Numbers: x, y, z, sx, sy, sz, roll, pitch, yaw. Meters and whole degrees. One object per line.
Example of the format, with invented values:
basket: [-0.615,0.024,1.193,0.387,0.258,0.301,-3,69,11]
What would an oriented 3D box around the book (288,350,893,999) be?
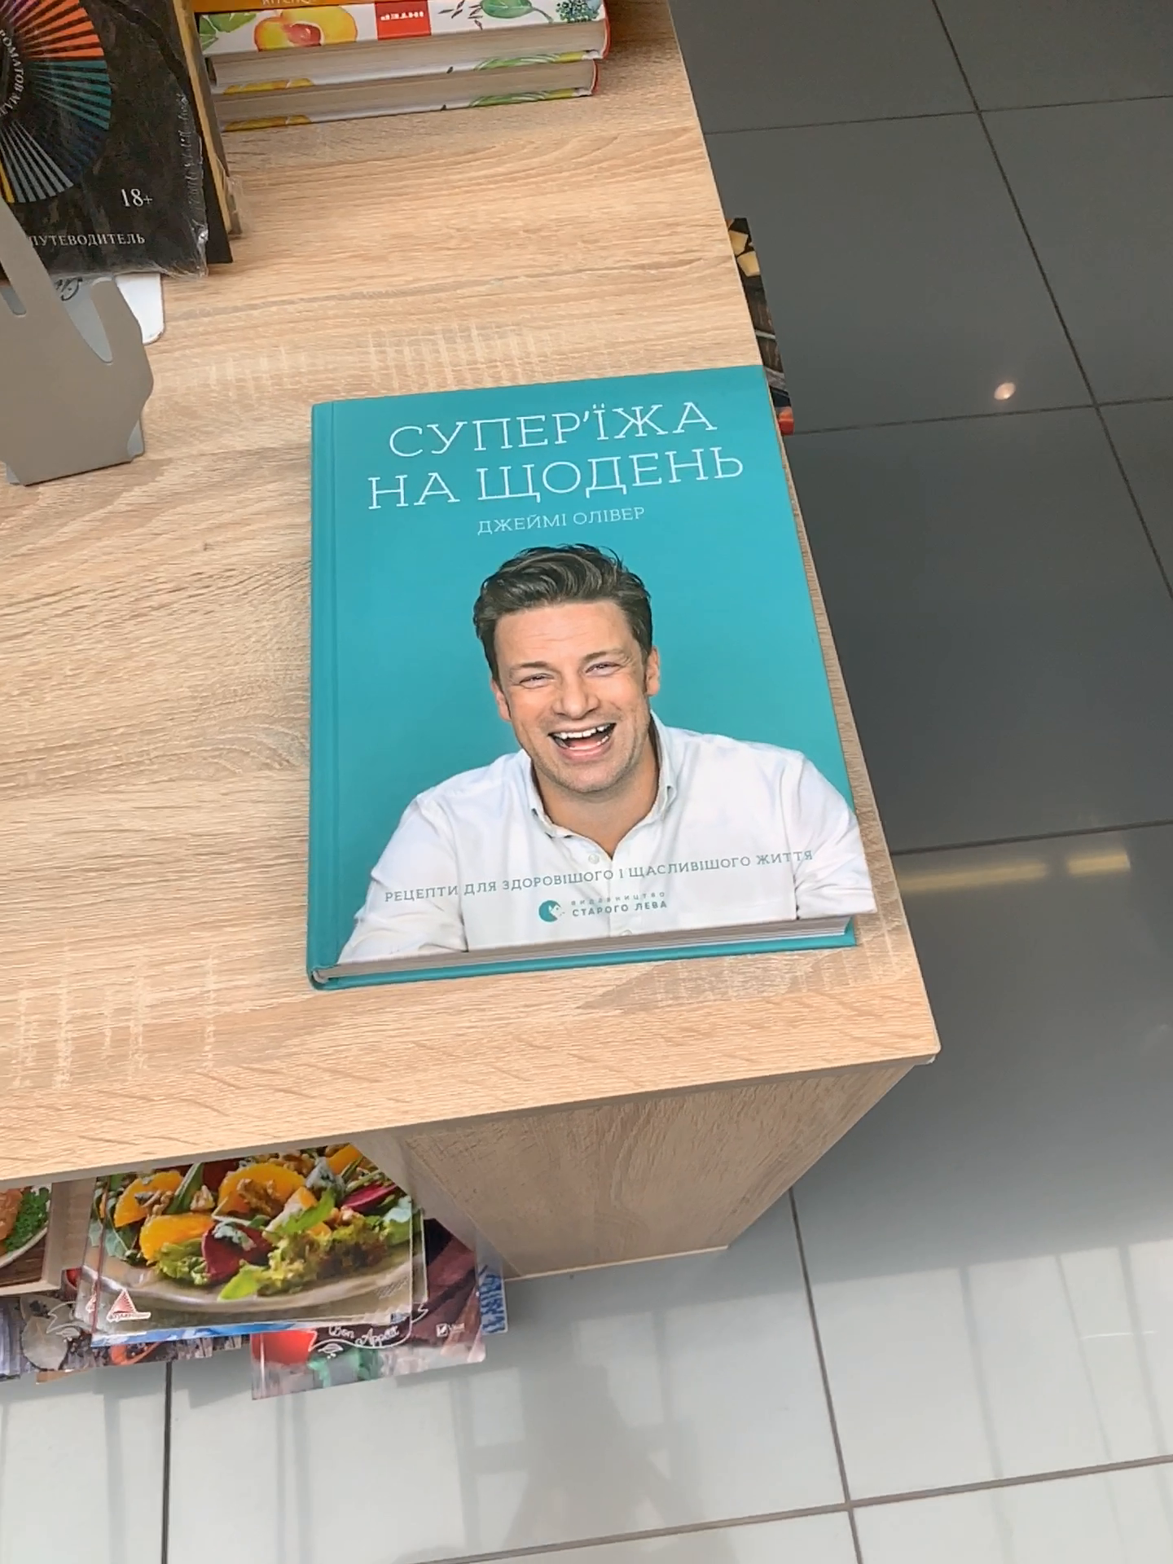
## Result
book: [-0.009,-0.053,0.466,0.200,0.030,0.255,-5,64,-1]
